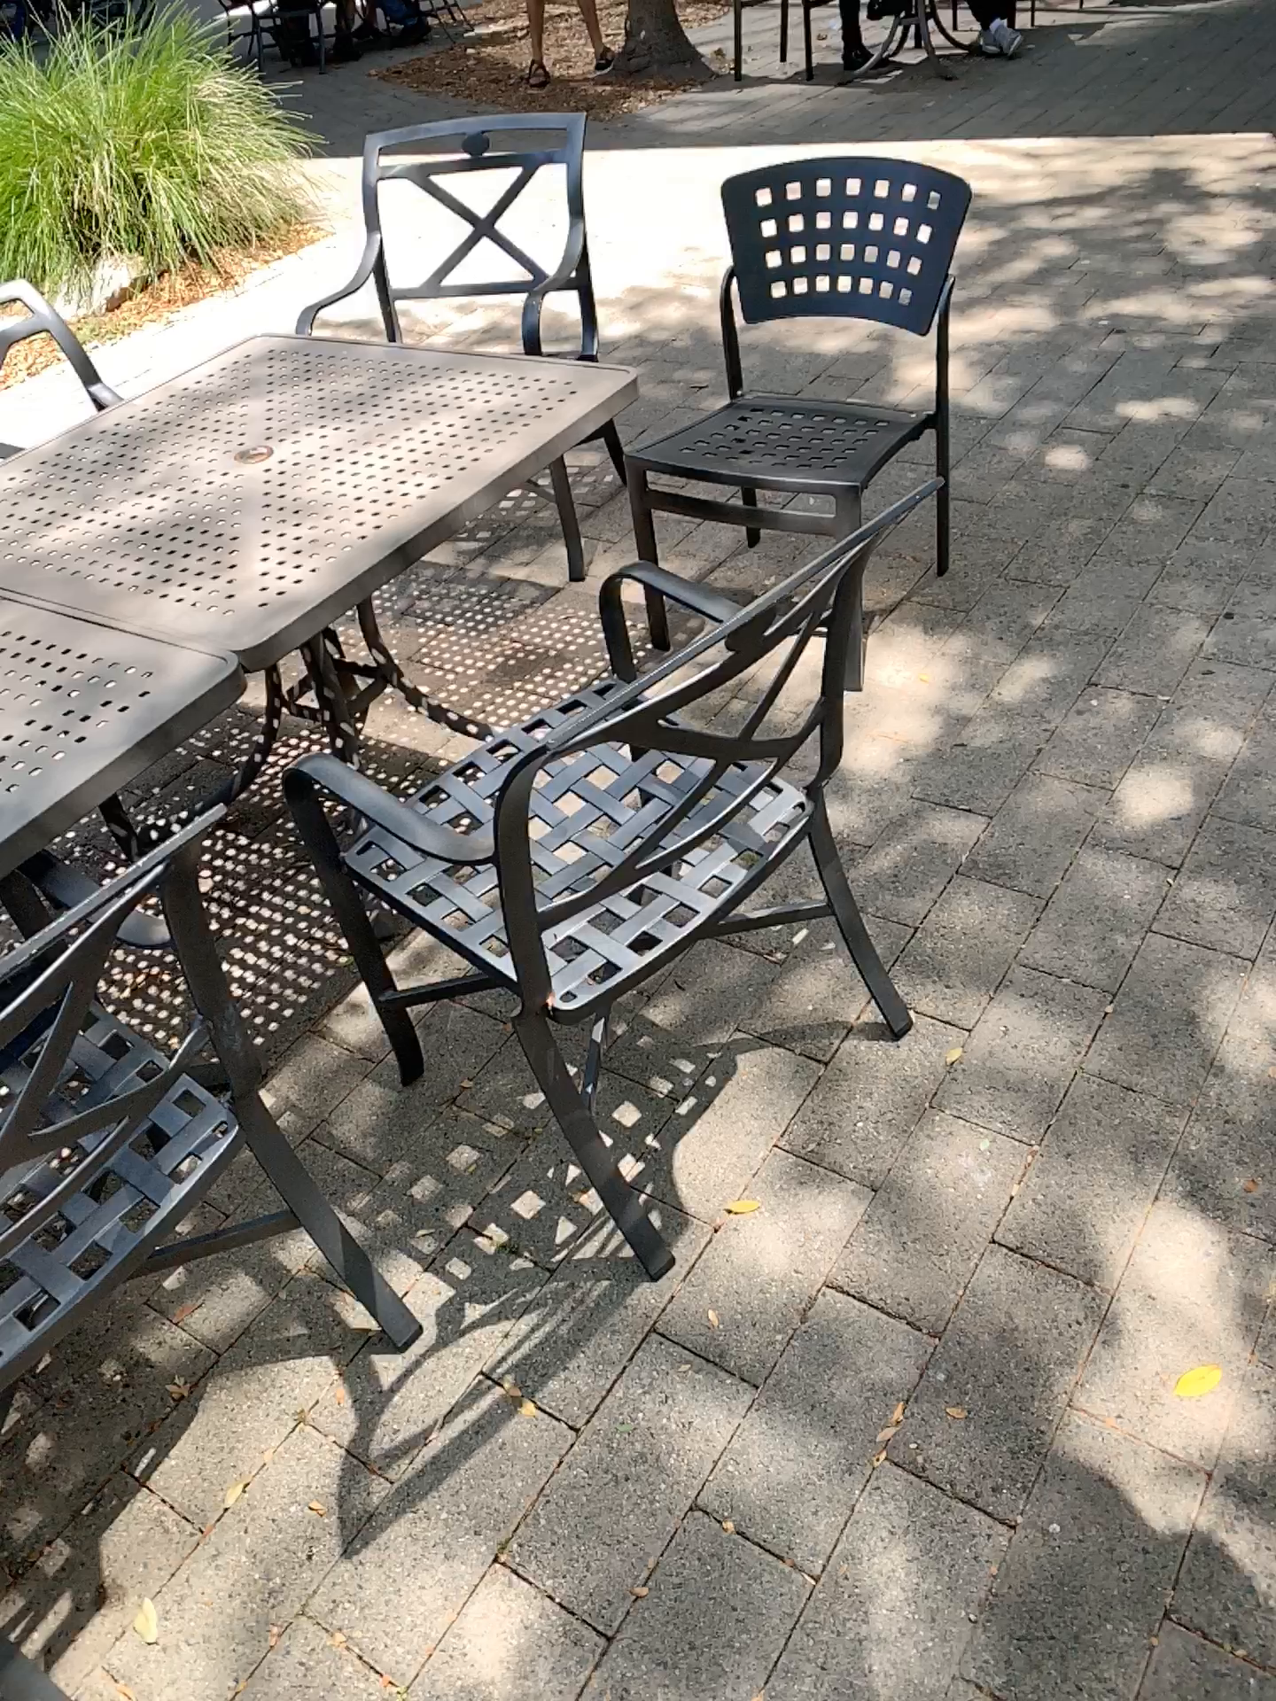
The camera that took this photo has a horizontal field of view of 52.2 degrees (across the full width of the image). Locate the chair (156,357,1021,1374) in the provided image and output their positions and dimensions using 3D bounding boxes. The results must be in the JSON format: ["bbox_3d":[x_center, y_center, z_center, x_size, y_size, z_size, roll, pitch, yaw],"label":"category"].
[{"bbox_3d":[-0.003,-0.004,1.589,0.613,0.884,0.631,28,52,36],"label":"chair"}]
